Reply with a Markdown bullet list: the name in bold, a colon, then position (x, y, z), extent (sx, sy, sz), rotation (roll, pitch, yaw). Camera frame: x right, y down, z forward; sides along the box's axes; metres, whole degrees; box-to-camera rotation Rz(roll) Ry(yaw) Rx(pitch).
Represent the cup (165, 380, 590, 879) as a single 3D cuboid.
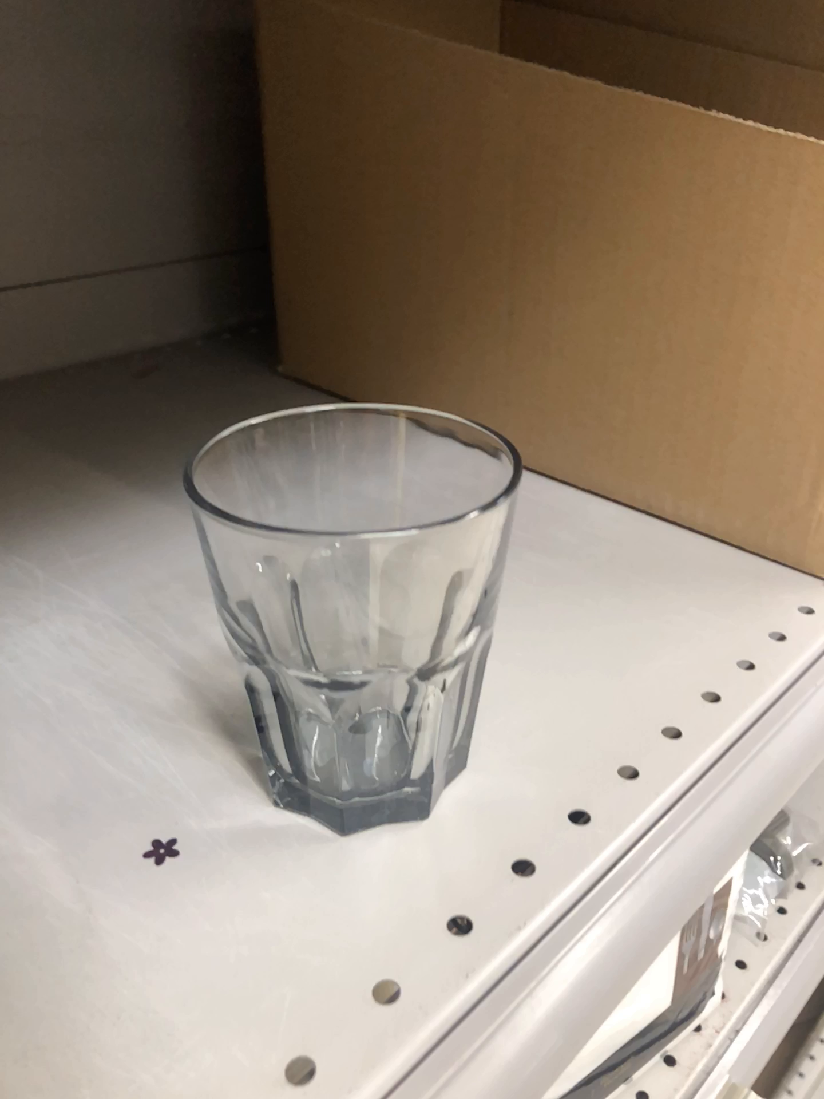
- **cup**: position (-0.014, 0.015, 0.248), extent (0.086, 0.092, 0.083), rotation (1, 28, 0)
